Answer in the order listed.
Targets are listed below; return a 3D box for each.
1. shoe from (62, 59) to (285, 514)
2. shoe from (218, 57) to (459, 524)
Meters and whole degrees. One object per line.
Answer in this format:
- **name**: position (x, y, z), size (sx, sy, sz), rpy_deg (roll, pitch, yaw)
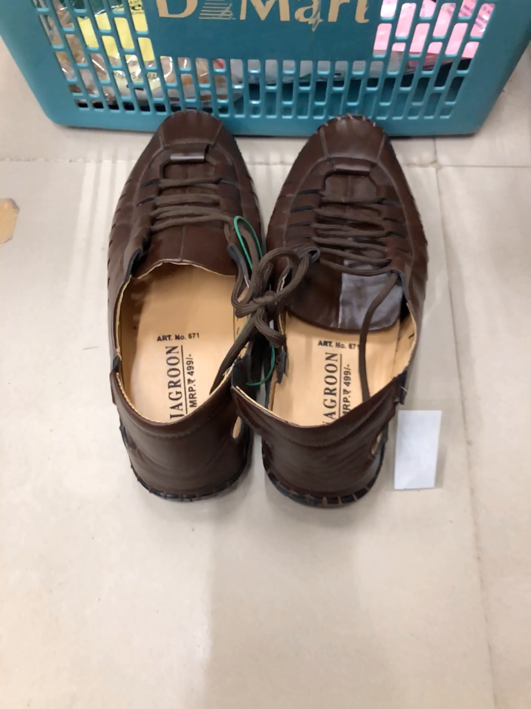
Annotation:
- **shoe**: position (-0.052, -0.047, 0.381), size (0.107, 0.101, 0.273), rpy_deg (-3, 67, -1)
- **shoe**: position (0.051, -0.044, 0.379), size (0.112, 0.101, 0.273), rpy_deg (7, 67, 3)
